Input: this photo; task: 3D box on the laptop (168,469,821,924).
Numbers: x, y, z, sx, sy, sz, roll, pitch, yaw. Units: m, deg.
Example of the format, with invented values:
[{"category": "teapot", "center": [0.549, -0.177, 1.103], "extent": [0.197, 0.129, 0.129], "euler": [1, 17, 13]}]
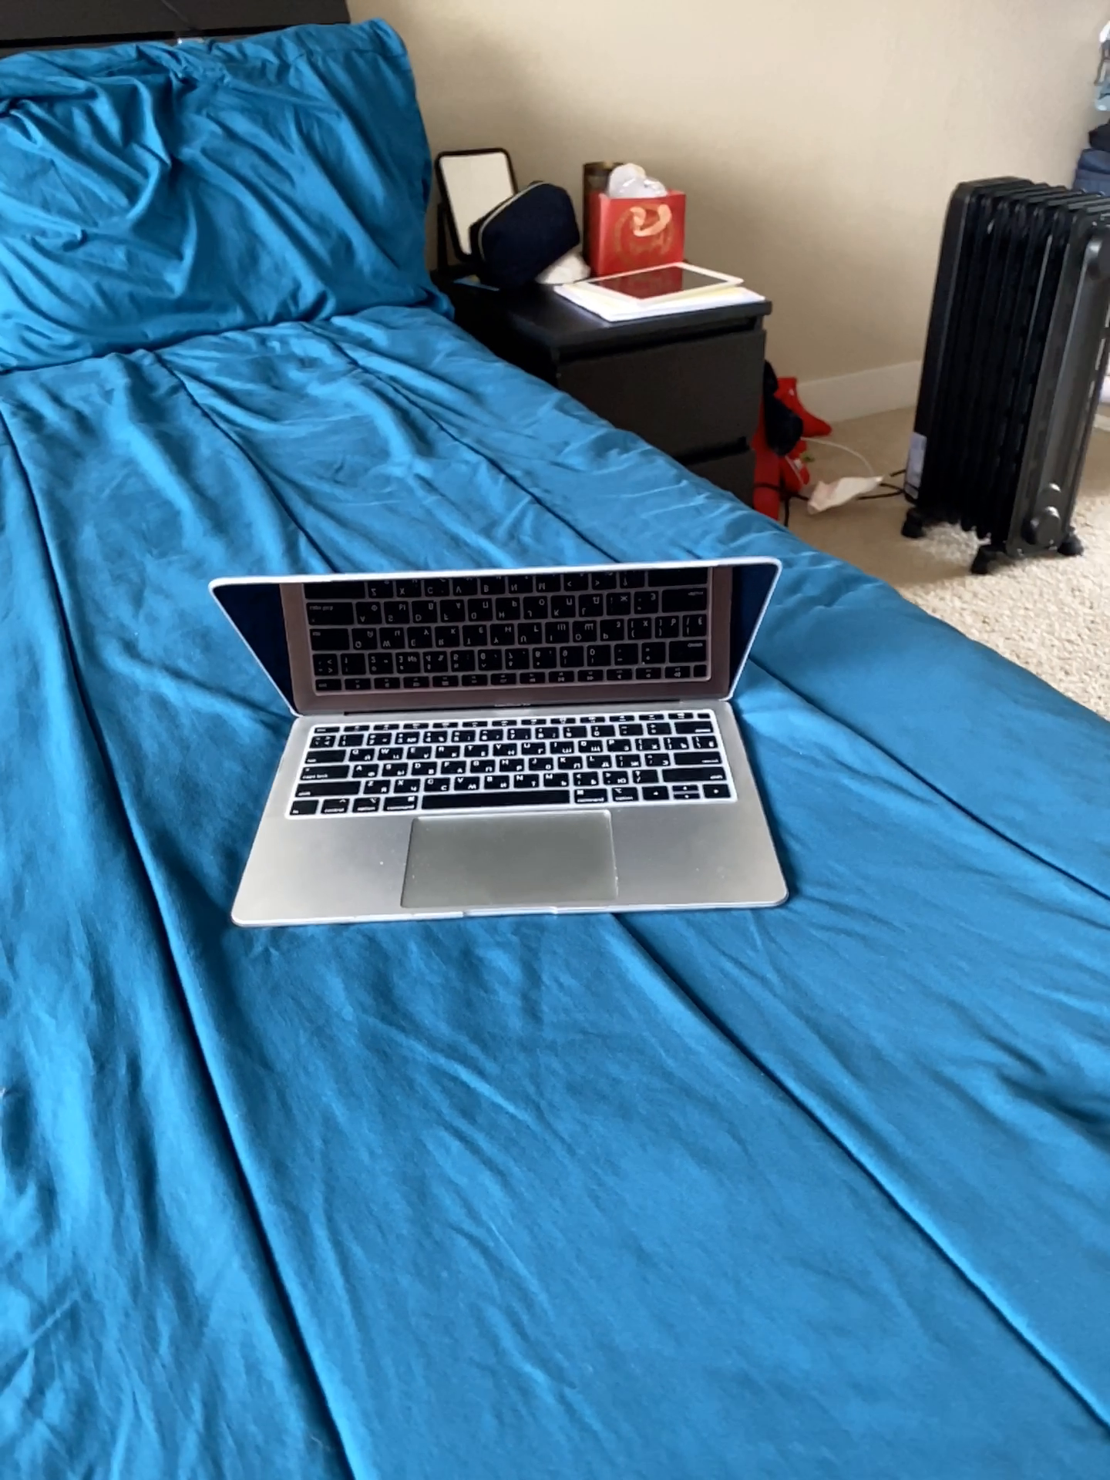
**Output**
[{"category": "laptop", "center": [-0.028, -0.034, 0.646], "extent": [0.295, 0.161, 0.216], "euler": [-2, 33, 0]}]
